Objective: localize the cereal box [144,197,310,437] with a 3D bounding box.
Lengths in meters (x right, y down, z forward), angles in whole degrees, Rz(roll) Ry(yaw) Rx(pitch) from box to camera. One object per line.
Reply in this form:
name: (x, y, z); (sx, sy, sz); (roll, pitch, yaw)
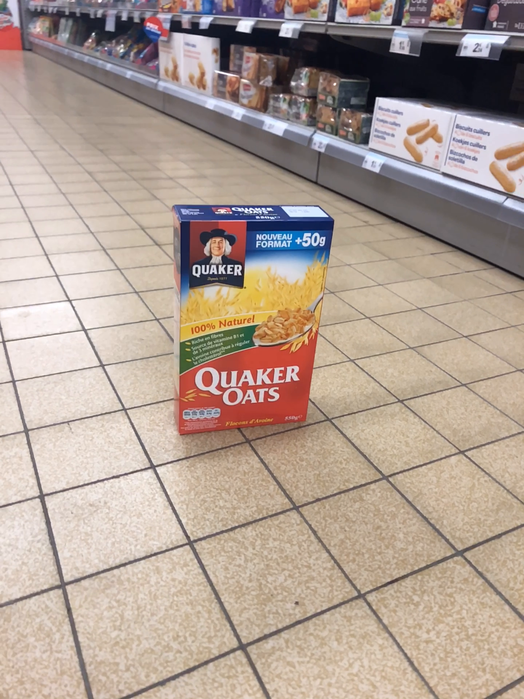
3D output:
cereal box: (-0.040, -0.028, 0.566); (0.140, 0.229, 0.050); (-3, 29, -15)
